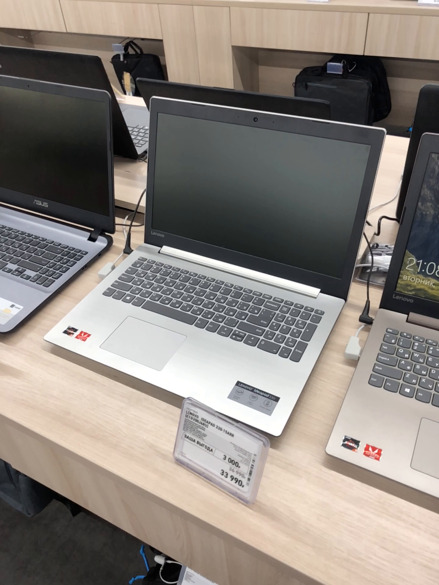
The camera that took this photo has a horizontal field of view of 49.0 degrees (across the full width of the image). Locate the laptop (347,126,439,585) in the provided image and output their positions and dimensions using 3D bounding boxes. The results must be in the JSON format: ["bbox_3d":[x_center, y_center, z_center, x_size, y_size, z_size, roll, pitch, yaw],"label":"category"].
[{"bbox_3d":[0.344,0.035,0.488,0.357,0.222,0.327,15,46,22],"label":"laptop"}]

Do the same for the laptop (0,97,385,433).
[{"bbox_3d":[-0.021,-0.074,0.655,0.366,0.220,0.336,17,46,23],"label":"laptop"}]

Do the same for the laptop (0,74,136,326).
[{"bbox_3d":[-0.394,-0.175,0.796,0.327,0.232,0.319,18,46,24],"label":"laptop"}]
